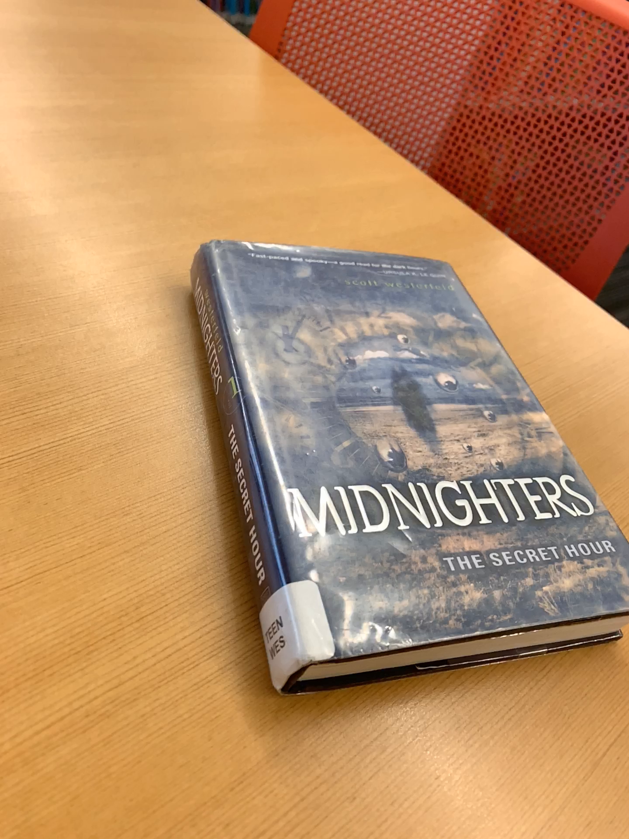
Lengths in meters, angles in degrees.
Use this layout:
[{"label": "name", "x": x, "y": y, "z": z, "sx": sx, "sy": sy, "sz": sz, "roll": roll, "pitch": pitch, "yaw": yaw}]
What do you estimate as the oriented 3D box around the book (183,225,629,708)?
[{"label": "book", "x": 0.033, "y": -0.002, "z": 0.290, "sx": 0.150, "sy": 0.040, "sz": 0.215, "roll": -1, "pitch": 48, "yaw": -22}]
